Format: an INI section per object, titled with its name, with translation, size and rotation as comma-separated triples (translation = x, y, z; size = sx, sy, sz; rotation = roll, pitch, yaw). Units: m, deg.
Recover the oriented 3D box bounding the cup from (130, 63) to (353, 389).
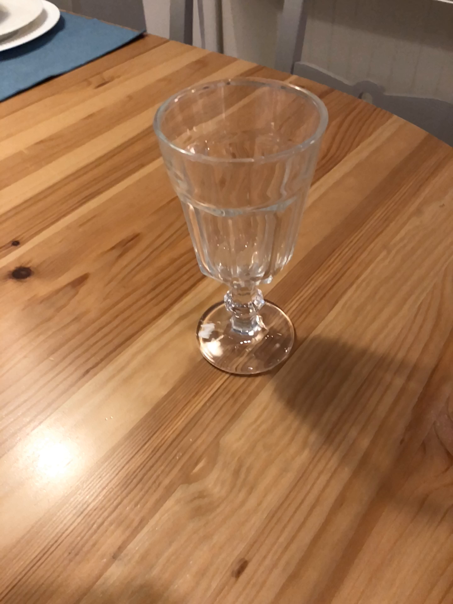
[cup]
translation = 0.004, -0.034, 0.265
size = 0.080, 0.139, 0.080
rotation = -2, 46, 2
